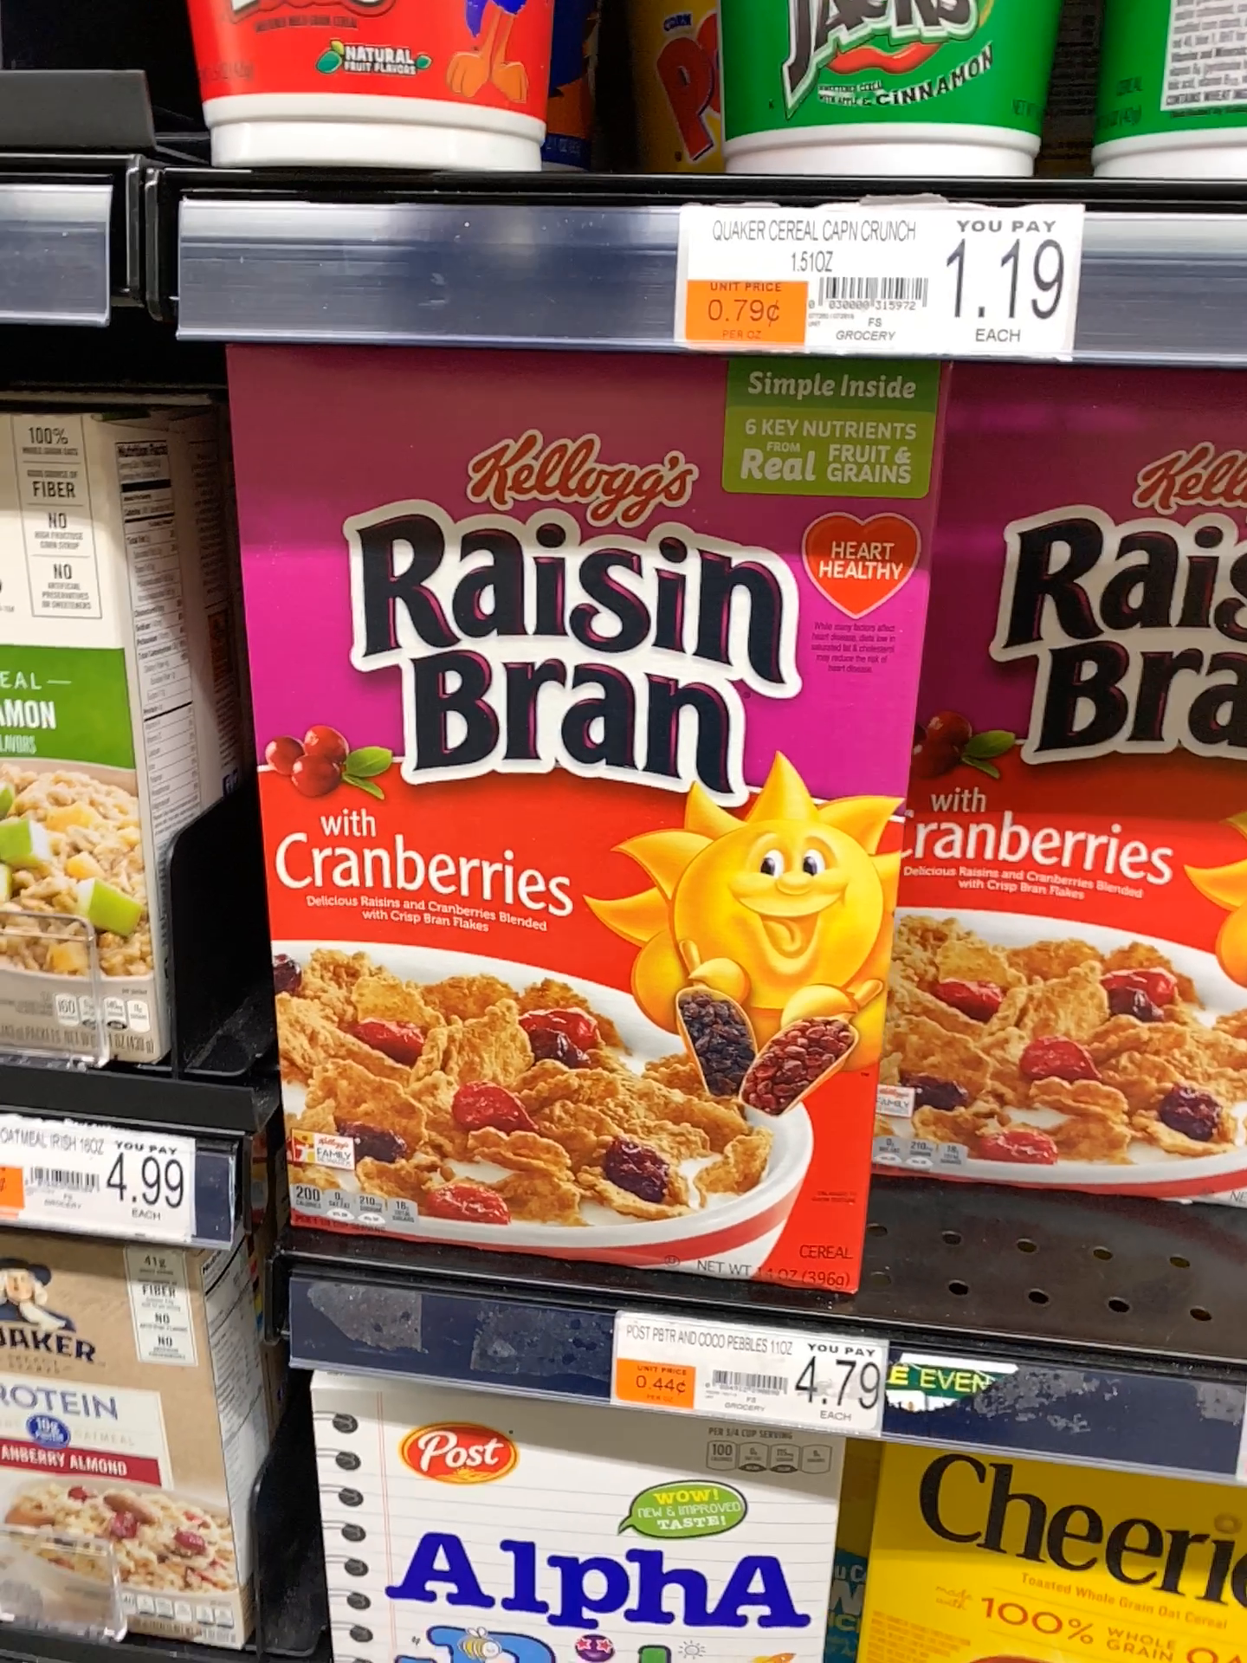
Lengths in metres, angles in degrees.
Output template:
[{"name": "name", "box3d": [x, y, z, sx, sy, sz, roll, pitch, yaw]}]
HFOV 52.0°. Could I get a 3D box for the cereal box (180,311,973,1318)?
[{"name": "cereal box", "box3d": [-0.015, -0.001, 0.394, 0.200, 0.289, 0.060, 4, 20, 8]}]
